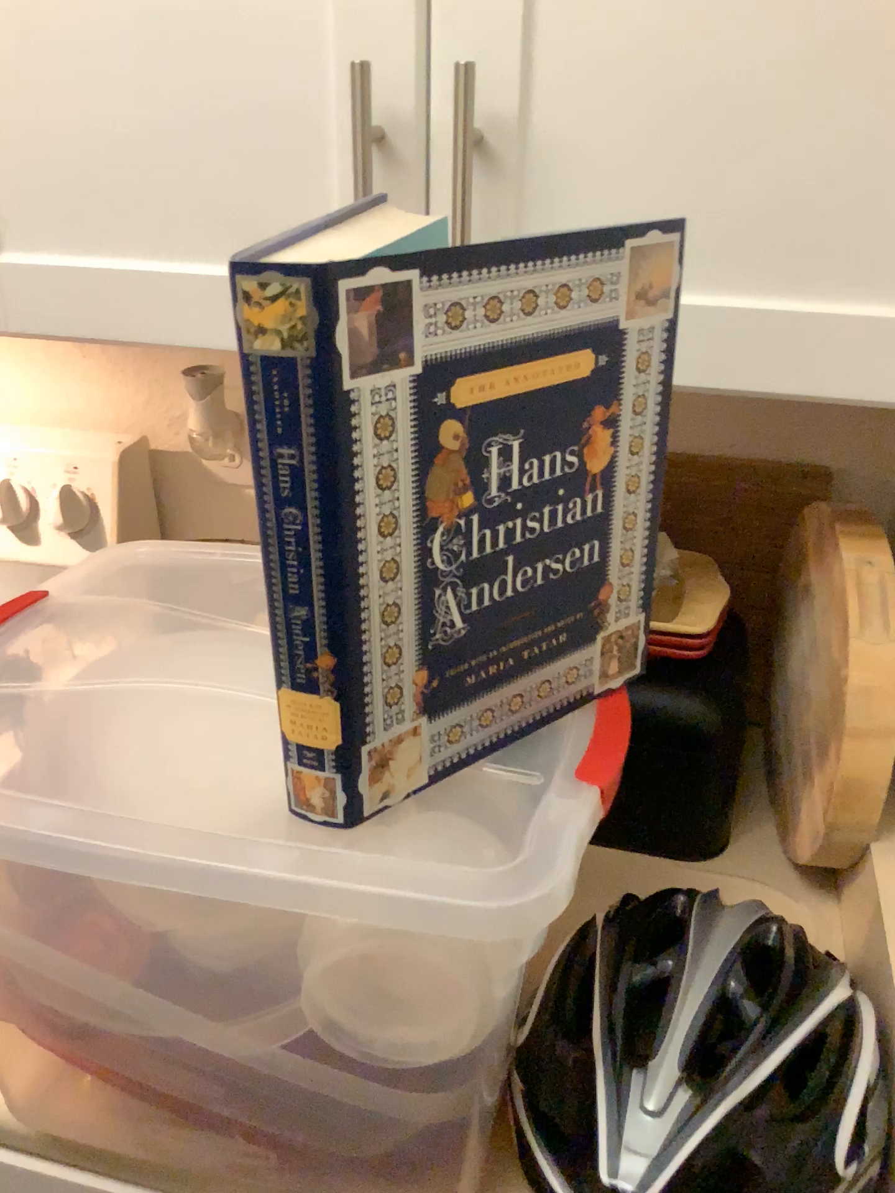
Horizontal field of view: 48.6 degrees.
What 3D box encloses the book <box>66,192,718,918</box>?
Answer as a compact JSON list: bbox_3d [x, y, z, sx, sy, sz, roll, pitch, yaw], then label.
[{"bbox_3d":[-0.008,-0.049,0.507,0.200,0.260,0.250,14,30,21],"label":"book"}]
